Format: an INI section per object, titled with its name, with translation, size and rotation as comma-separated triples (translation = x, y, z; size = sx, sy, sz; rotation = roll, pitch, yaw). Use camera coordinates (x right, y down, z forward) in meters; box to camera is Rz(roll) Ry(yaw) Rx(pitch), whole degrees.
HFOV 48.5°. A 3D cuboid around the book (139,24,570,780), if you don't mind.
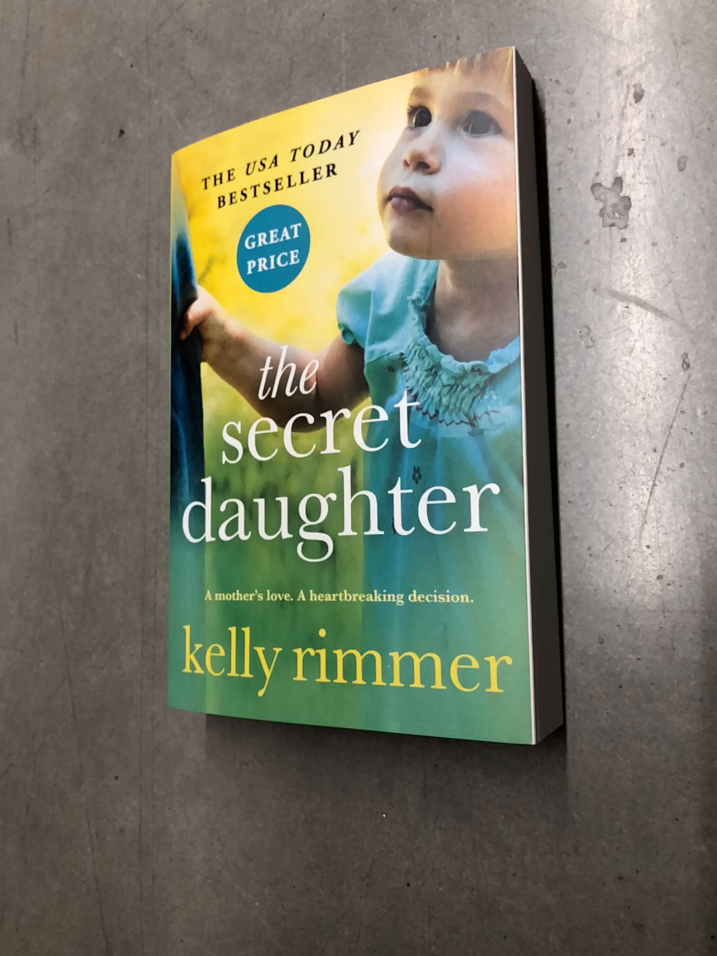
[book]
translation = -0.008, -0.021, 0.264
size = 0.140, 0.030, 0.210
rotation = -4, 84, 28
